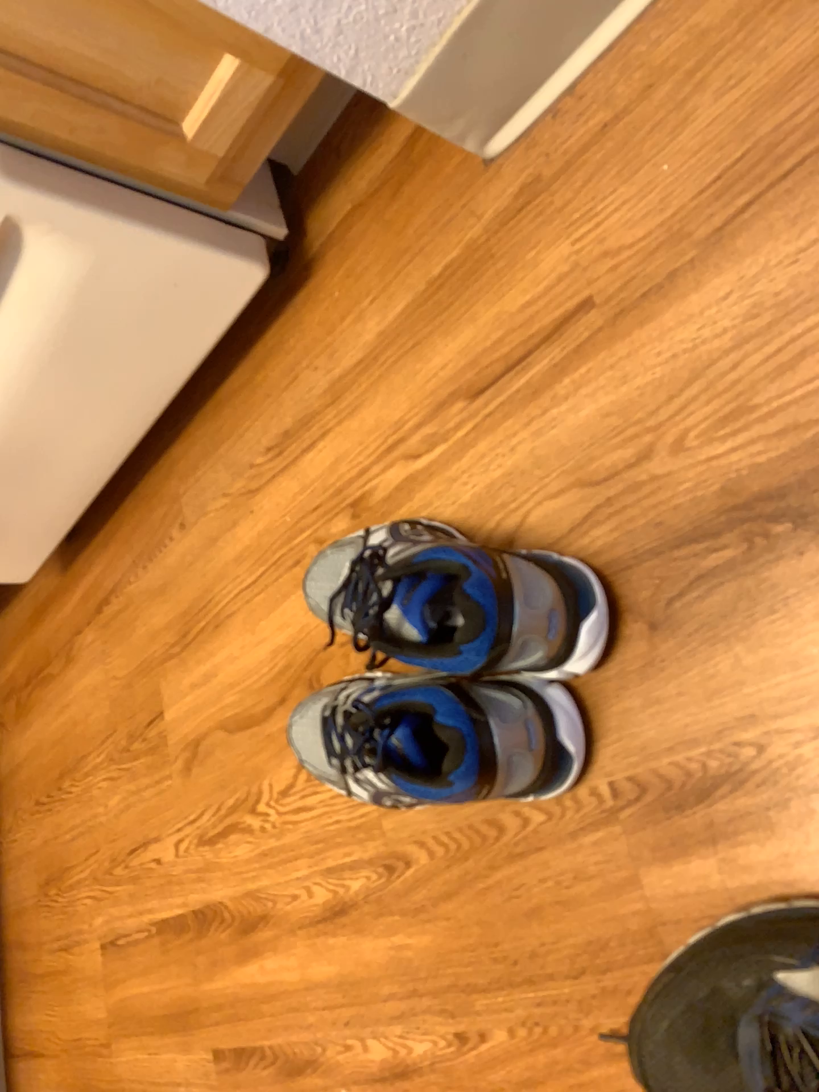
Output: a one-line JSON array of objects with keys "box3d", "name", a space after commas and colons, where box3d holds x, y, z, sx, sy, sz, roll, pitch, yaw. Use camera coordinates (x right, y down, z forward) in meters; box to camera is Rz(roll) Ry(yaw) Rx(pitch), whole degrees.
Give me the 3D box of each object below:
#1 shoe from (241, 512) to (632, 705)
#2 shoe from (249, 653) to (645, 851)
[{"box3d": [0.005, 0.036, 0.622, 0.282, 0.129, 0.110, 2, 88, 49], "name": "shoe"}, {"box3d": [0.011, 0.149, 0.635, 0.293, 0.129, 0.110, -14, 76, 47], "name": "shoe"}]
